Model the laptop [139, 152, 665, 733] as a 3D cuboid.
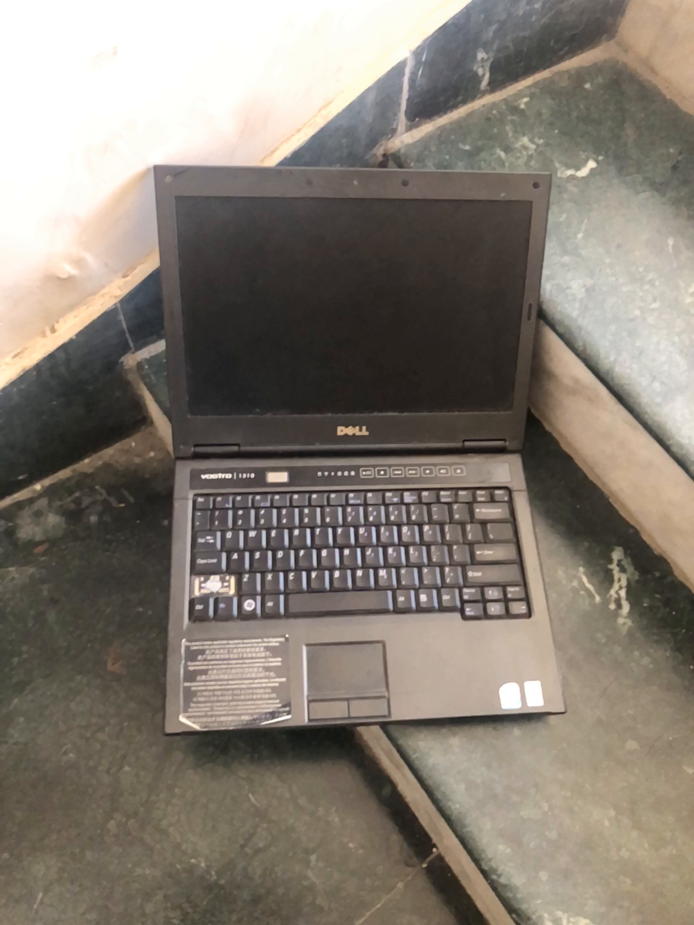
[{"bbox_3d":[0.018,-0.019,0.584,0.302,0.169,0.387,-1,66,-6],"label":"laptop"}]
